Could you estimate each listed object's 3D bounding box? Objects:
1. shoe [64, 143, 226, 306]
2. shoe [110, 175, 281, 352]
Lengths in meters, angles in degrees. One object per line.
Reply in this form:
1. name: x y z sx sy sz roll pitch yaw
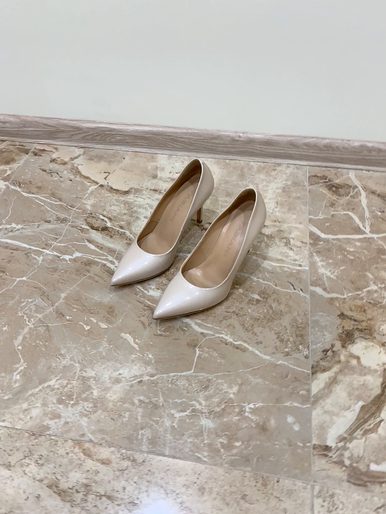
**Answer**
1. shoe: -0.062 -0.057 0.626 0.090 0.119 0.240 35 61 26
2. shoe: 0.012 0.002 0.575 0.090 0.109 0.240 35 61 26
